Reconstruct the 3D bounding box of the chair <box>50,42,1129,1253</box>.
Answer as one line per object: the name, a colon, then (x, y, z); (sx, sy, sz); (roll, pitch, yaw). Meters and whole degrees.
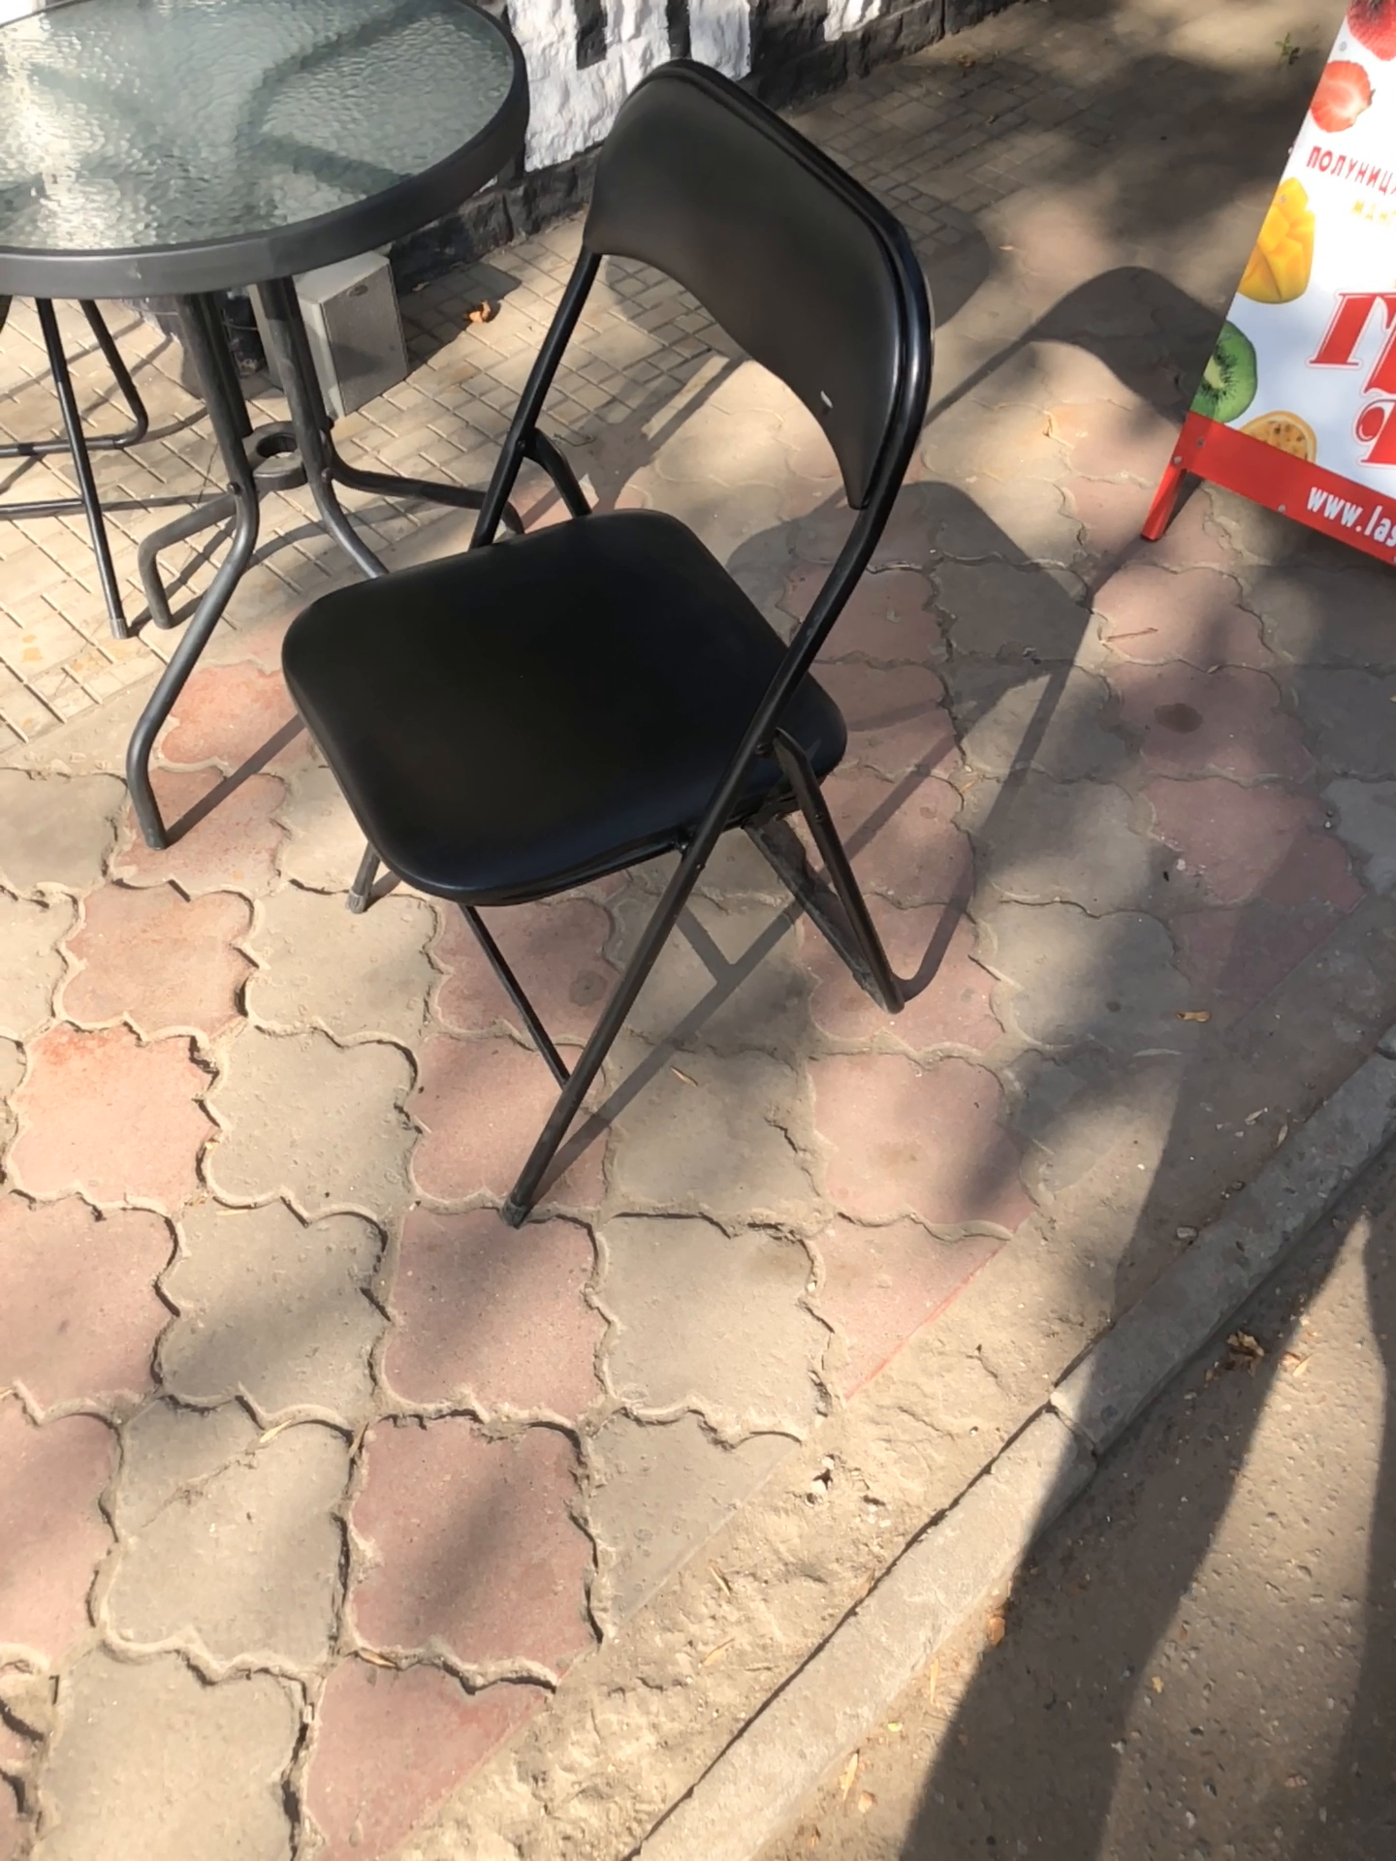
chair: (-0.085, -0.221, 1.215); (0.501, 0.638, 0.531); (-25, 53, -18)
